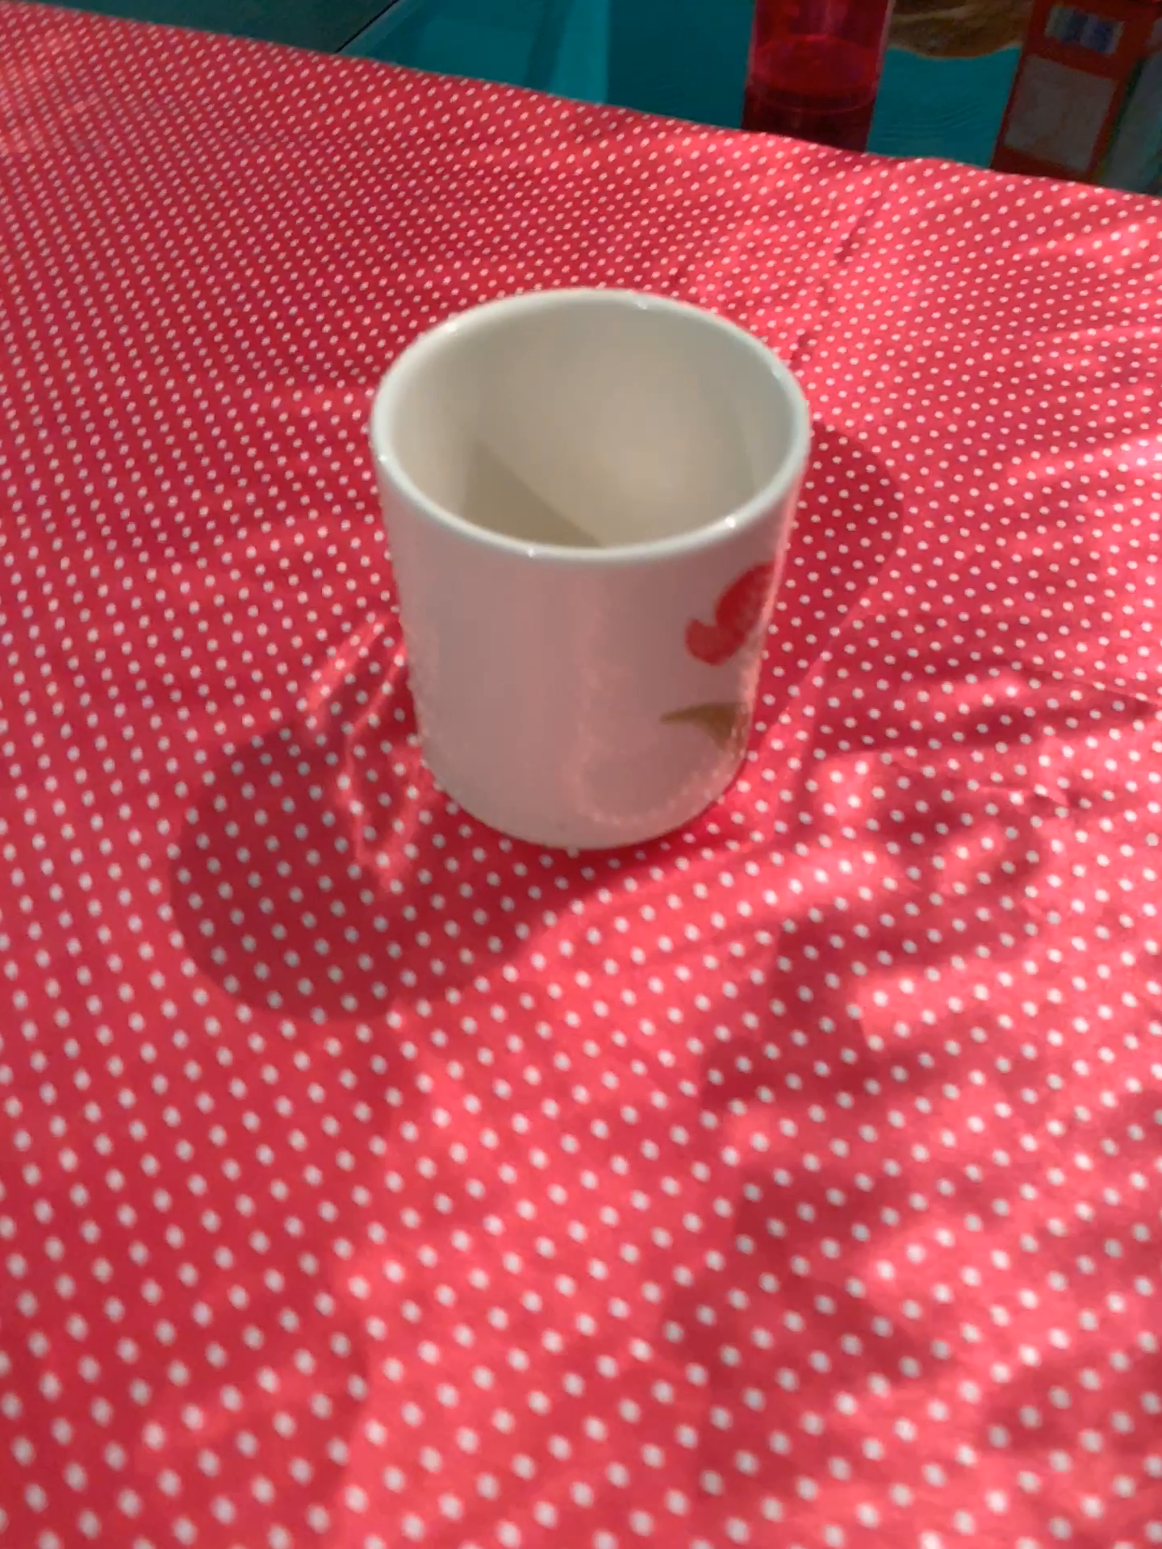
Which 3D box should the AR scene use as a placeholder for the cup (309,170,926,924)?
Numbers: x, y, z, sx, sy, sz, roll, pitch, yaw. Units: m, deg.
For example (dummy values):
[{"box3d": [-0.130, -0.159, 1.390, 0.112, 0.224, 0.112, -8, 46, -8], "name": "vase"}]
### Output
[{"box3d": [0.014, -0.051, 0.256, 0.090, 0.090, 0.120, 12, 53, 8], "name": "cup"}]
